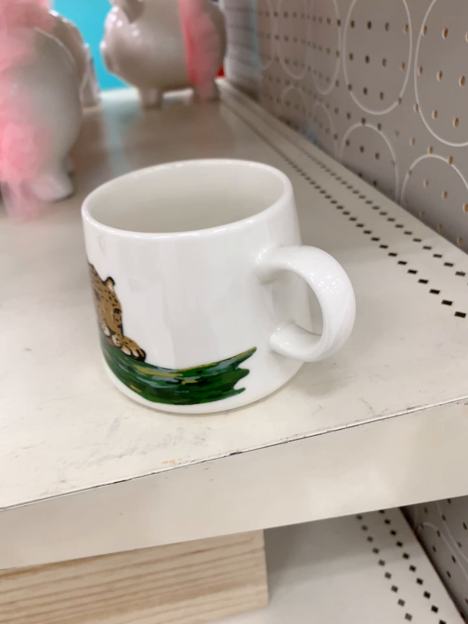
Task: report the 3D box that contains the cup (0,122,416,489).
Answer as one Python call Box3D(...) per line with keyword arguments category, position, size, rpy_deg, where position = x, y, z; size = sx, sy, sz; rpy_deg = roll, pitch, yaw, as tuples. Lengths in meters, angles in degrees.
Box3D(category="cup", position=(-0.013, -0.021, 0.229), size=(0.140, 0.090, 0.110), rpy_deg=(25, 45, 38))
